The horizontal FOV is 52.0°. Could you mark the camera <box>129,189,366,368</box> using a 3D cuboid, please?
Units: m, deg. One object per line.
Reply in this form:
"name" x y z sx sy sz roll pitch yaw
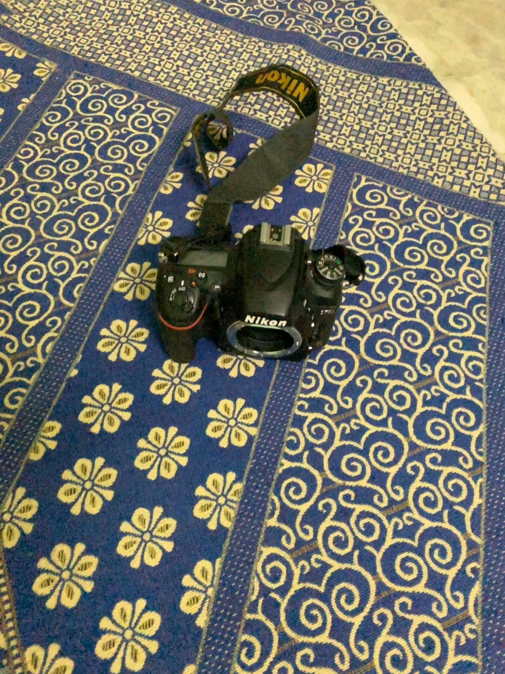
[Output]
"camera" -0.002 -0.040 0.387 0.150 0.090 0.088 4 62 0
